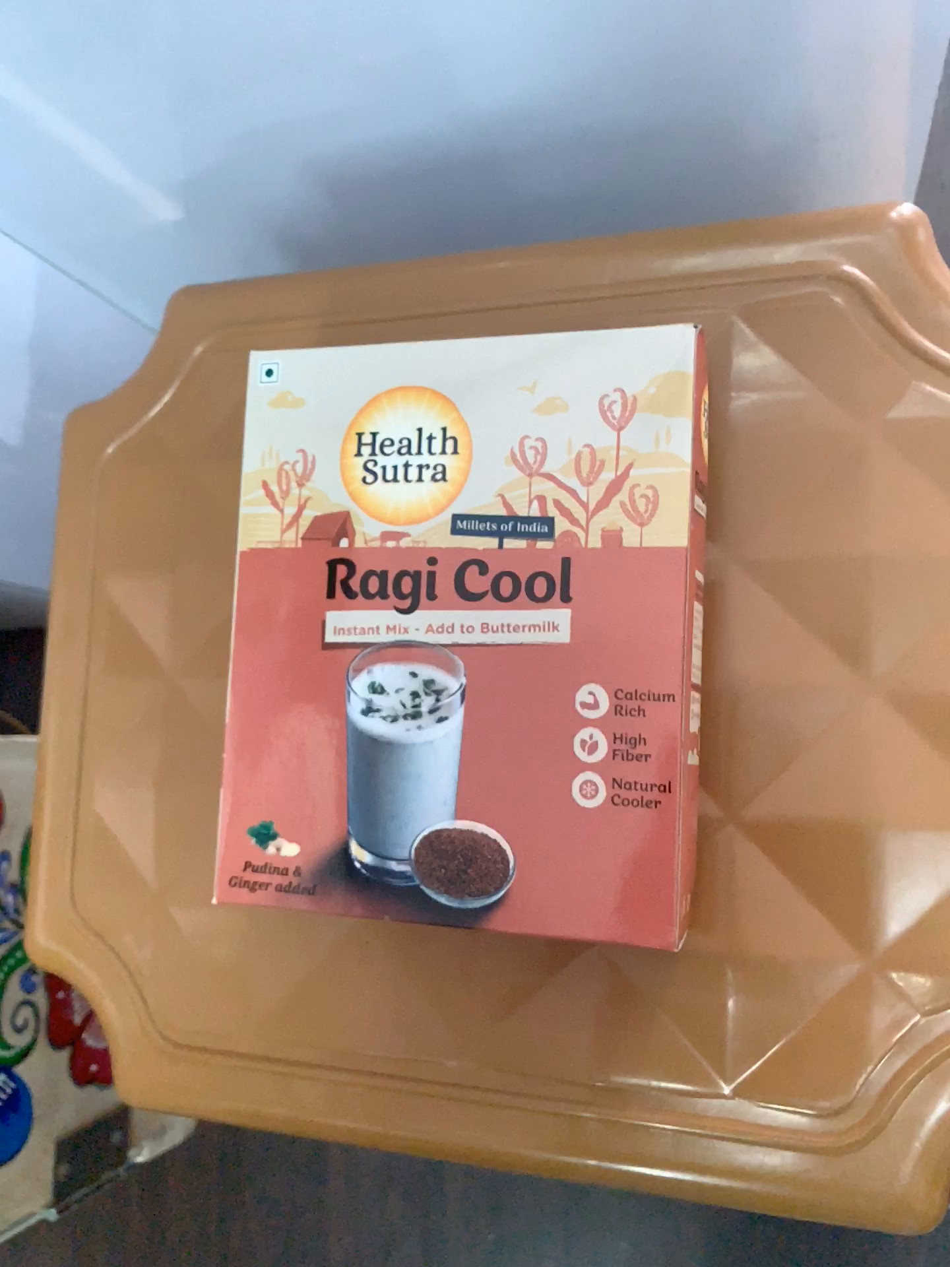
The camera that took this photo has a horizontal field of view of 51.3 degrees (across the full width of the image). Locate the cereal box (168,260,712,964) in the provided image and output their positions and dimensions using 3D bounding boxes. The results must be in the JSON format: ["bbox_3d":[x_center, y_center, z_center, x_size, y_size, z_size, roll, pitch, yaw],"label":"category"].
[{"bbox_3d":[-0.008,-0.007,0.277,0.140,0.040,0.170,0,84,18],"label":"cereal box"}]
